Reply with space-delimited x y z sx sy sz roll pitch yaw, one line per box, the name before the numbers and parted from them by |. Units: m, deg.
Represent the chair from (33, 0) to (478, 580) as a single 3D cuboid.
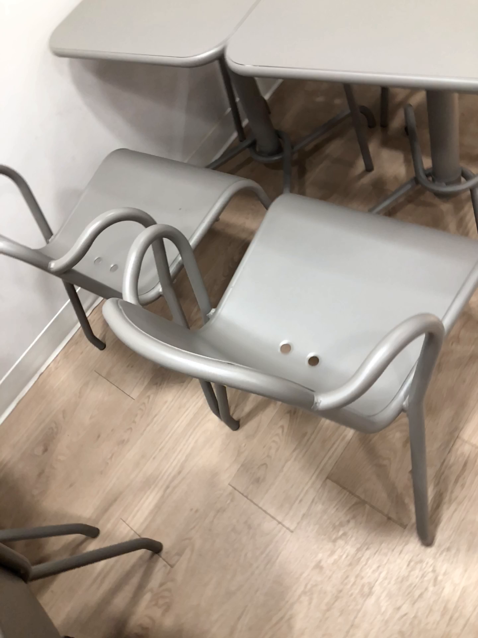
chair | 0.203 -0.015 0.914 0.482 0.706 0.611 25 72 34
